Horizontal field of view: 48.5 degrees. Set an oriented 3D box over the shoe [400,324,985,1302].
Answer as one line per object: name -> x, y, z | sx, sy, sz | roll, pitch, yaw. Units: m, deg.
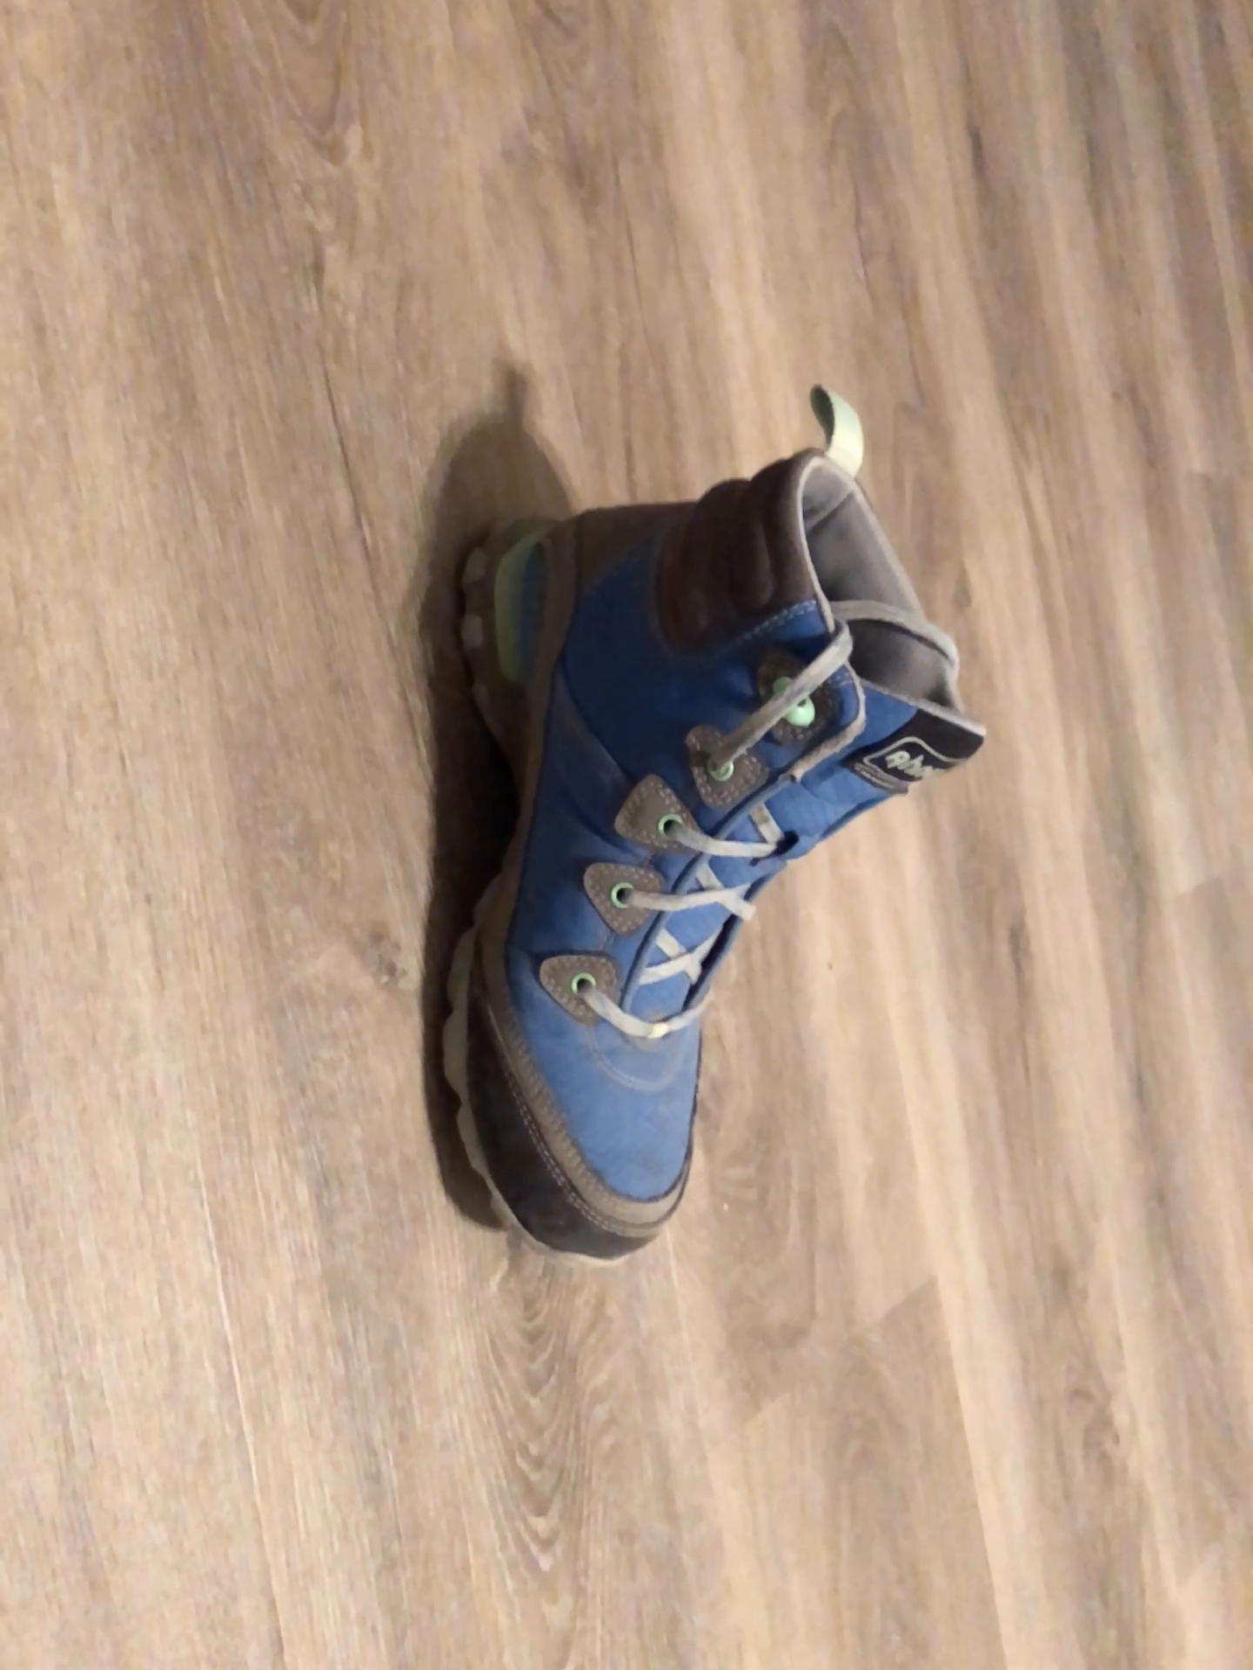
shoe -> 0.017, 0.002, 0.430 | 0.101, 0.139, 0.250 | 11, 74, -47
